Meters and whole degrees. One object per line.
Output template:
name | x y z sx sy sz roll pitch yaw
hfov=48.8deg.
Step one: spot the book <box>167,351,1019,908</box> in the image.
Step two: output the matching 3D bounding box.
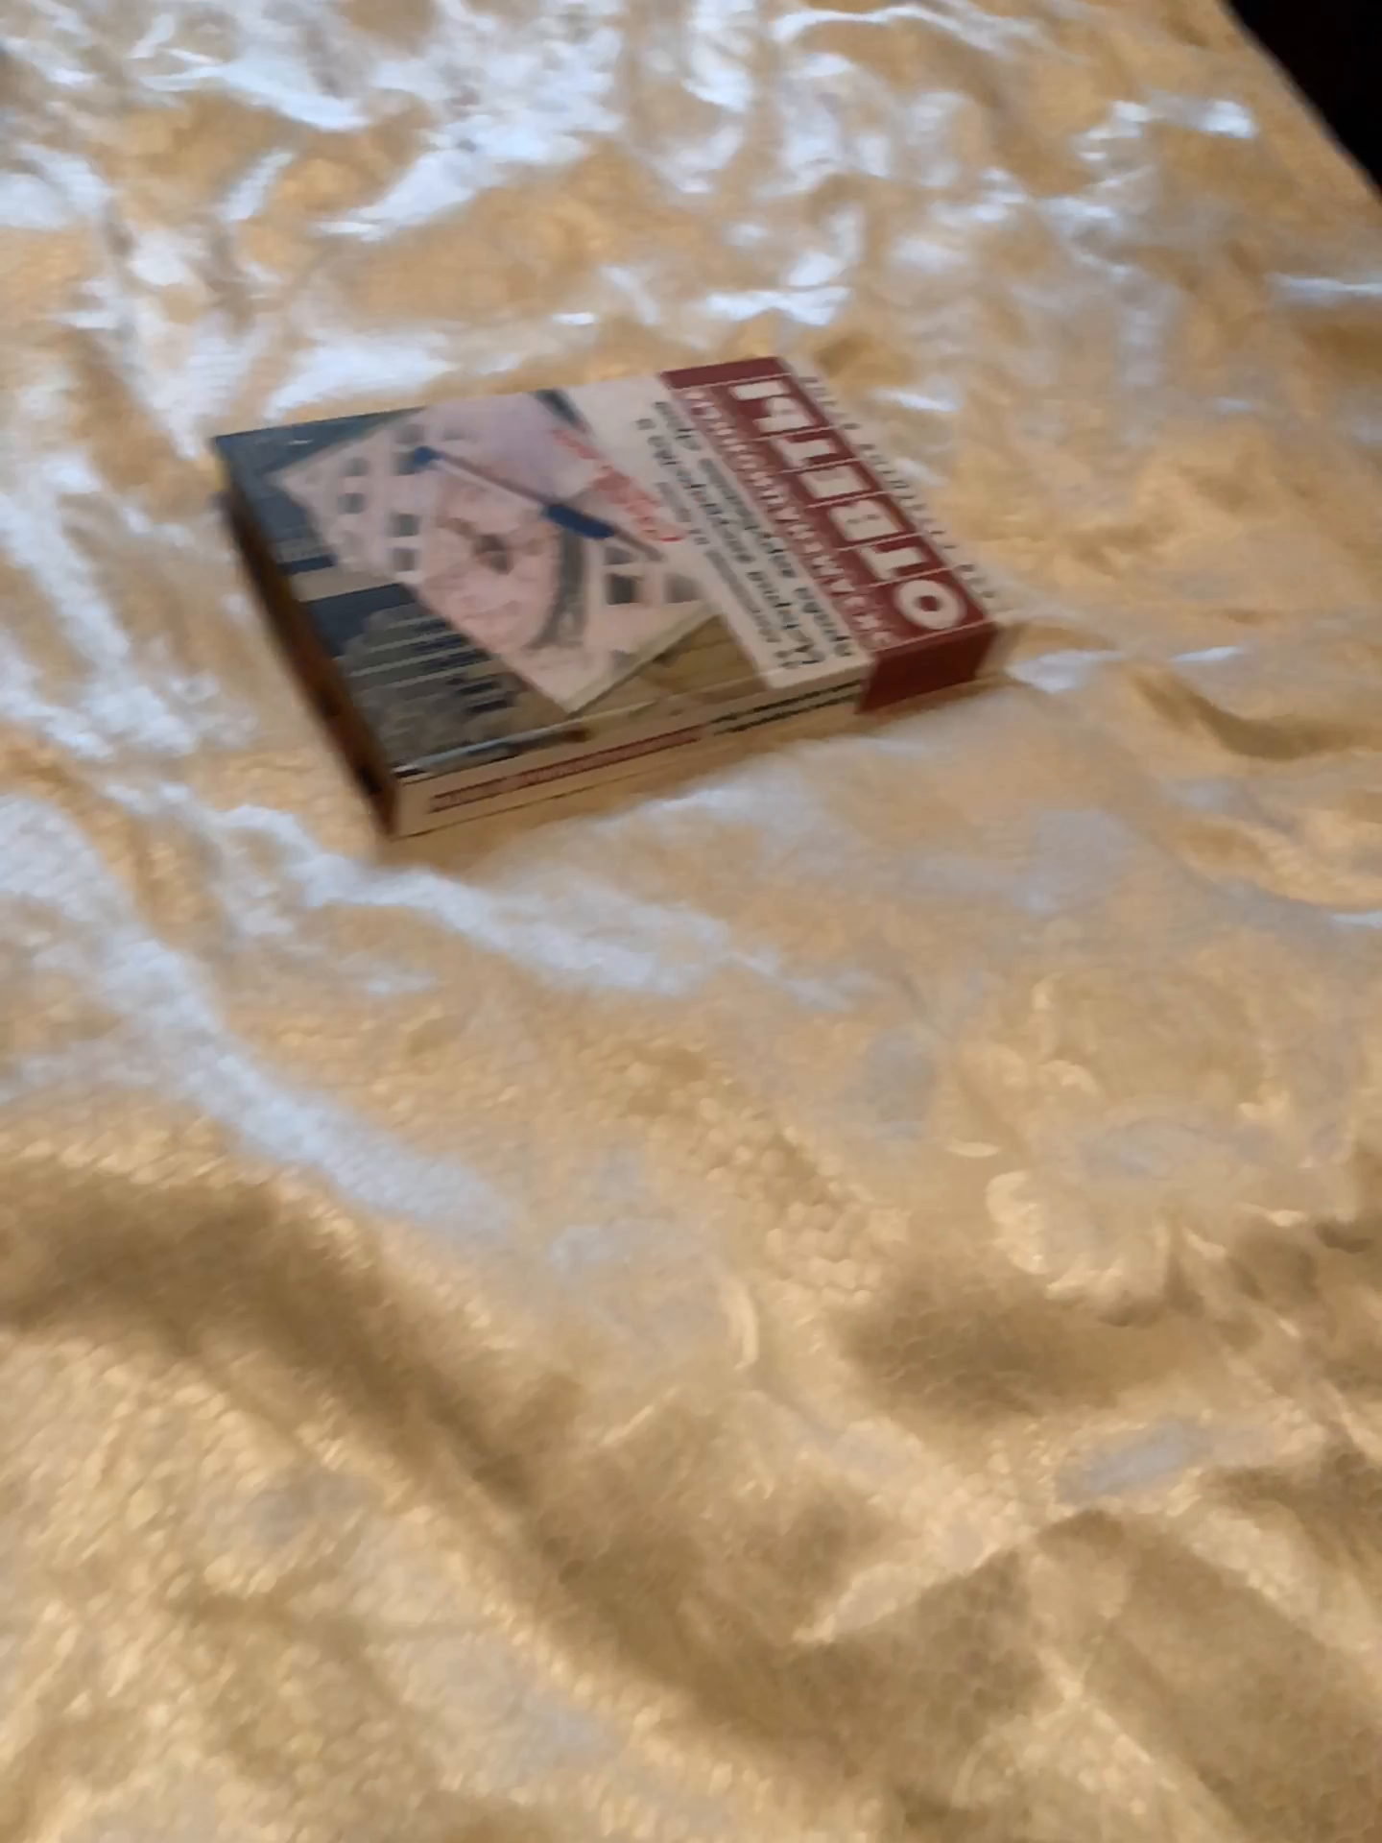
book | -0.028 -0.101 0.463 0.211 0.030 0.150 -19 63 -26
